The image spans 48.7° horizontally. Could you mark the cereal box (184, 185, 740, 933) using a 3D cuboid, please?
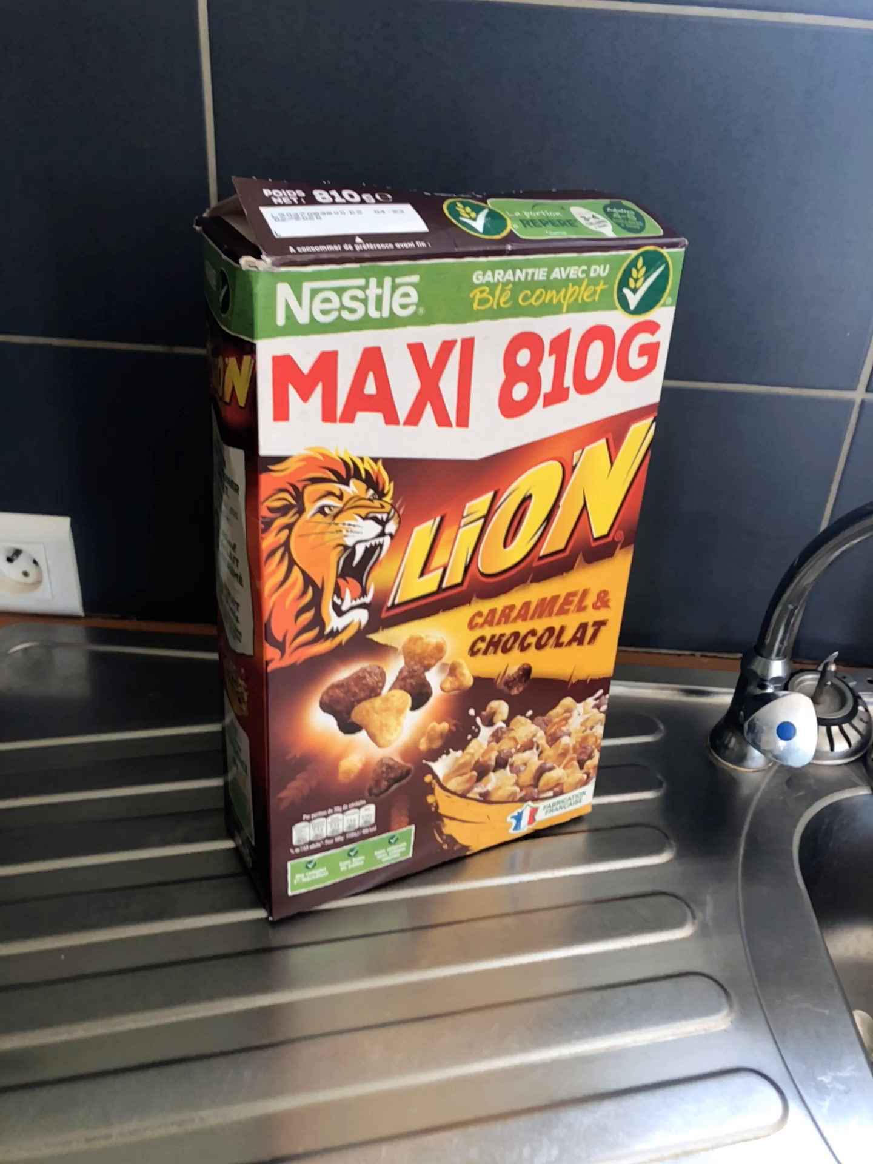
[{"bbox_3d":[0.002,-0.008,0.449,0.201,0.318,0.080,-11,33,-24],"label":"cereal box"}]
